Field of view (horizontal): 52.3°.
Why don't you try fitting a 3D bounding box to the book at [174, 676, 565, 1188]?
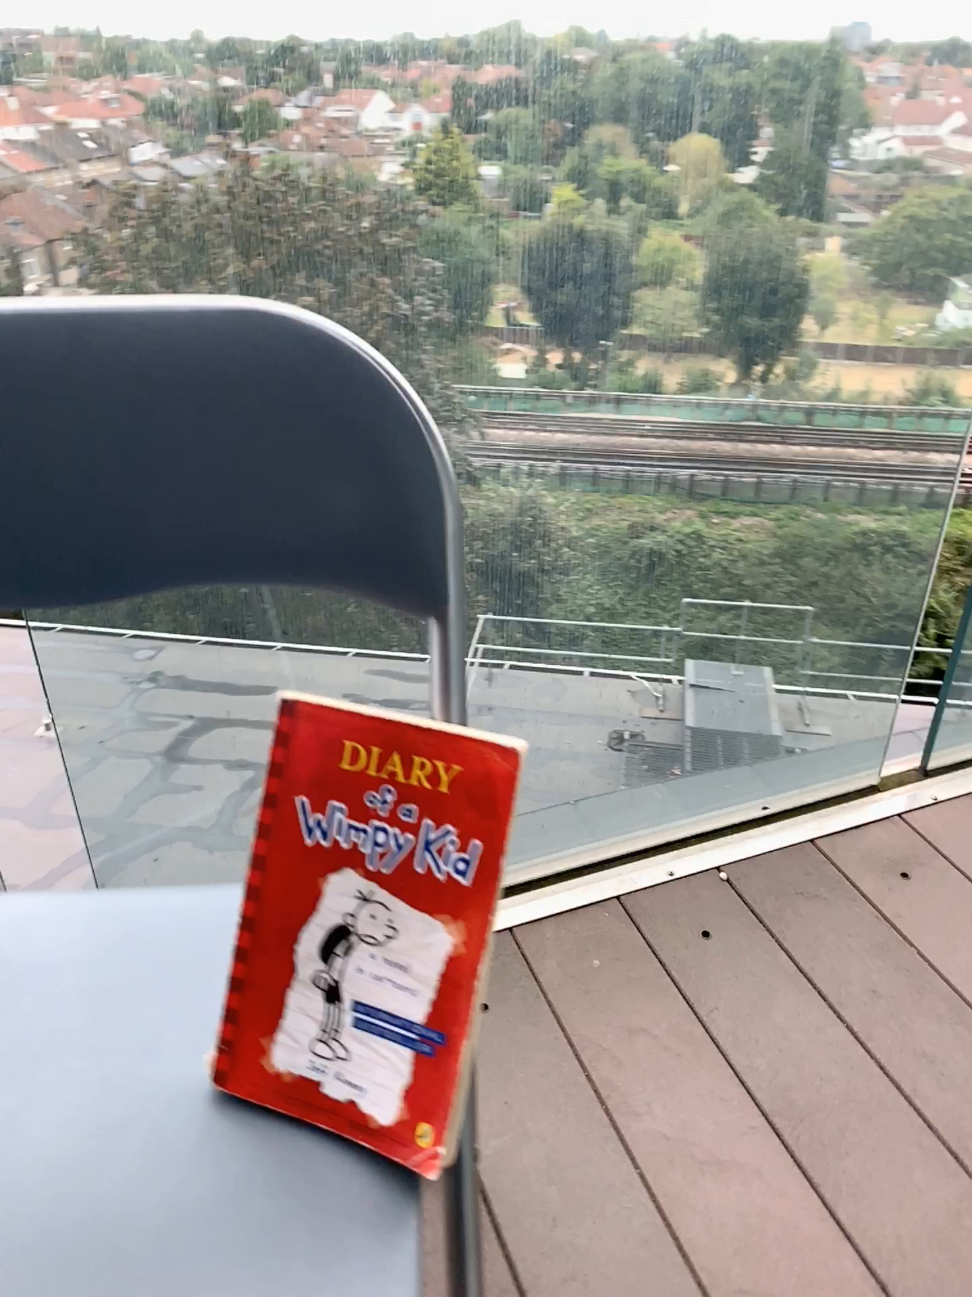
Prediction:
[{"bbox_3d":[-0.057,0.127,0.480,0.150,0.200,0.040,11,0,18],"label":"book"}]
